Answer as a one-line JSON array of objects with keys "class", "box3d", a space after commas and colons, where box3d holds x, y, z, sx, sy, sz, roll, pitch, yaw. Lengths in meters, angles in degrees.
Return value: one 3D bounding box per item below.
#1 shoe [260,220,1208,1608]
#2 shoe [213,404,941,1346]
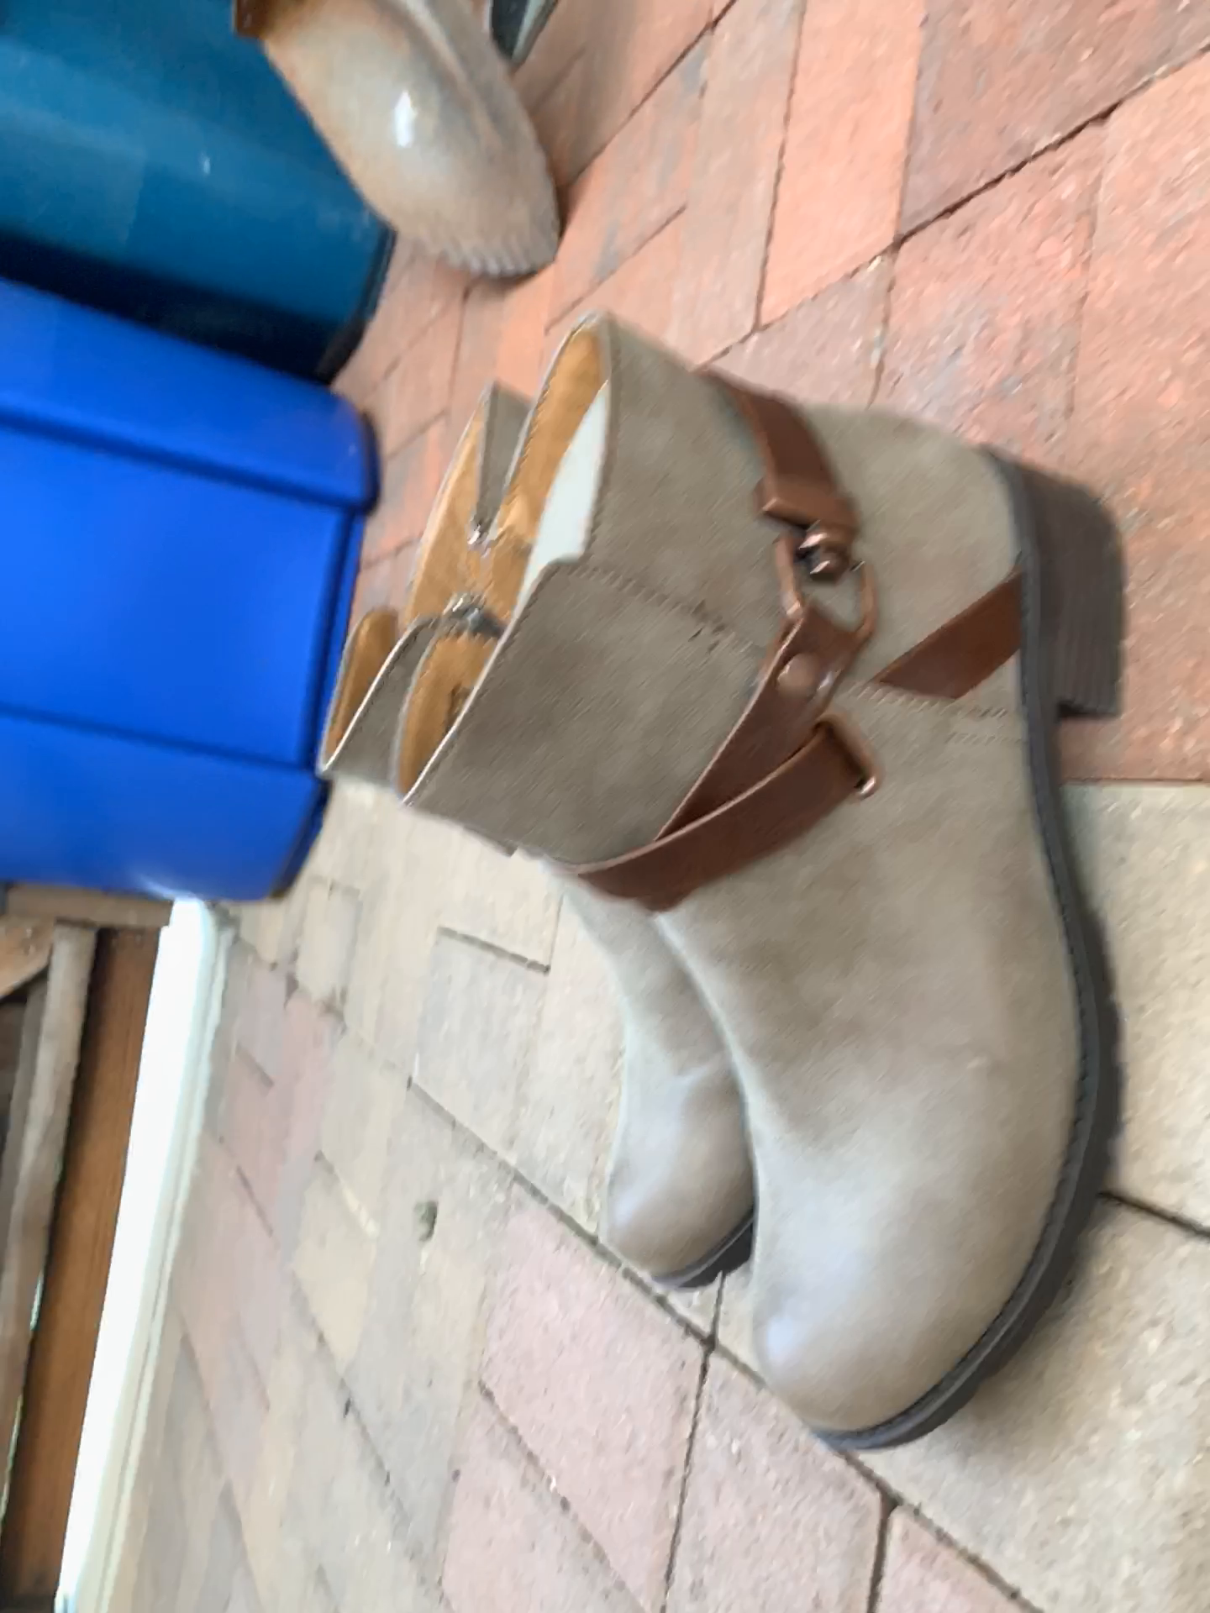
[{"class": "shoe", "box3d": [0.029, 0.027, 0.298, 0.096, 0.166, 0.250, 178, 101, -68]}, {"class": "shoe", "box3d": [-0.011, 0.027, 0.387, 0.096, 0.166, 0.238, -177, 97, -68]}]
